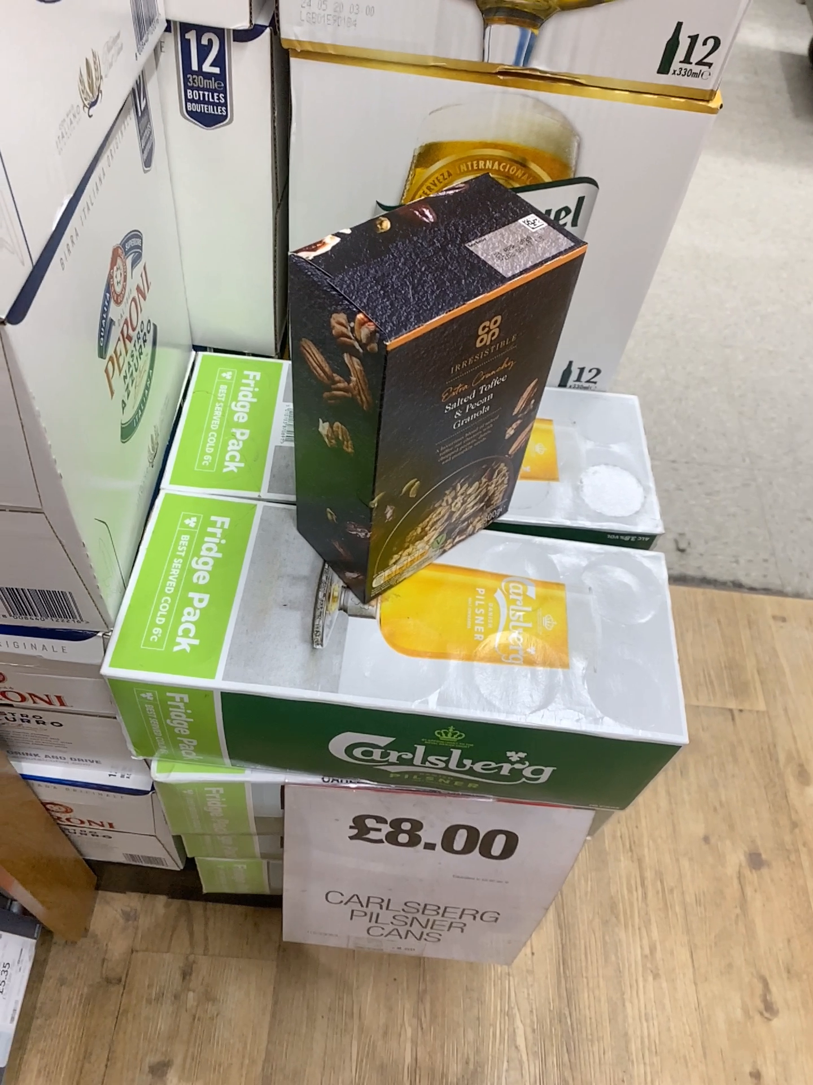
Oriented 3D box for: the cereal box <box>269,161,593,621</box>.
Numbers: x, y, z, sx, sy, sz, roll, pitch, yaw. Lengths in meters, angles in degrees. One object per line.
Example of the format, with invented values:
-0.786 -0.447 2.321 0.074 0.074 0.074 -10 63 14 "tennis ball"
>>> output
0.003 -0.070 0.449 0.121 0.208 0.080 -33 63 -26 "cereal box"
